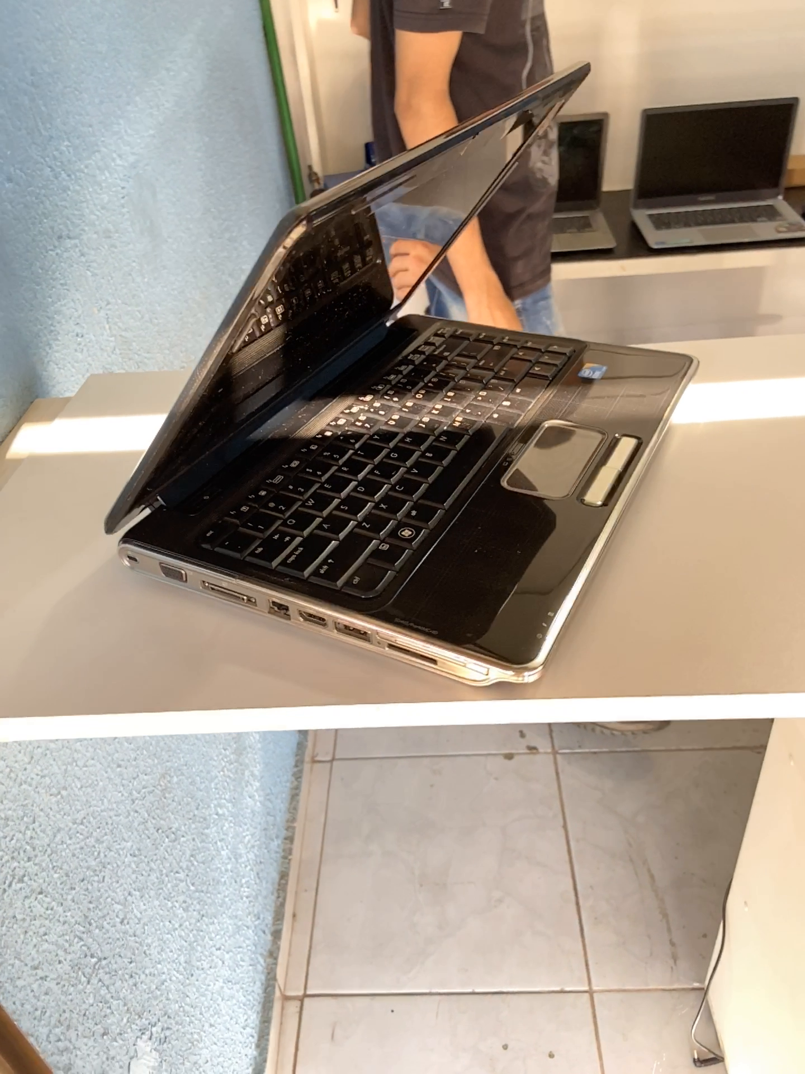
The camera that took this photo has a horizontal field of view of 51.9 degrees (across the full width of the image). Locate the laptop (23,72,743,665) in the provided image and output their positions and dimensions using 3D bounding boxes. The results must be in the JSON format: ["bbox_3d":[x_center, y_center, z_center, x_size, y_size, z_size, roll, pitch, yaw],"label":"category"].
[{"bbox_3d":[0.028,-0.132,0.453,0.225,0.165,0.327,15,41,24],"label":"laptop"}]
